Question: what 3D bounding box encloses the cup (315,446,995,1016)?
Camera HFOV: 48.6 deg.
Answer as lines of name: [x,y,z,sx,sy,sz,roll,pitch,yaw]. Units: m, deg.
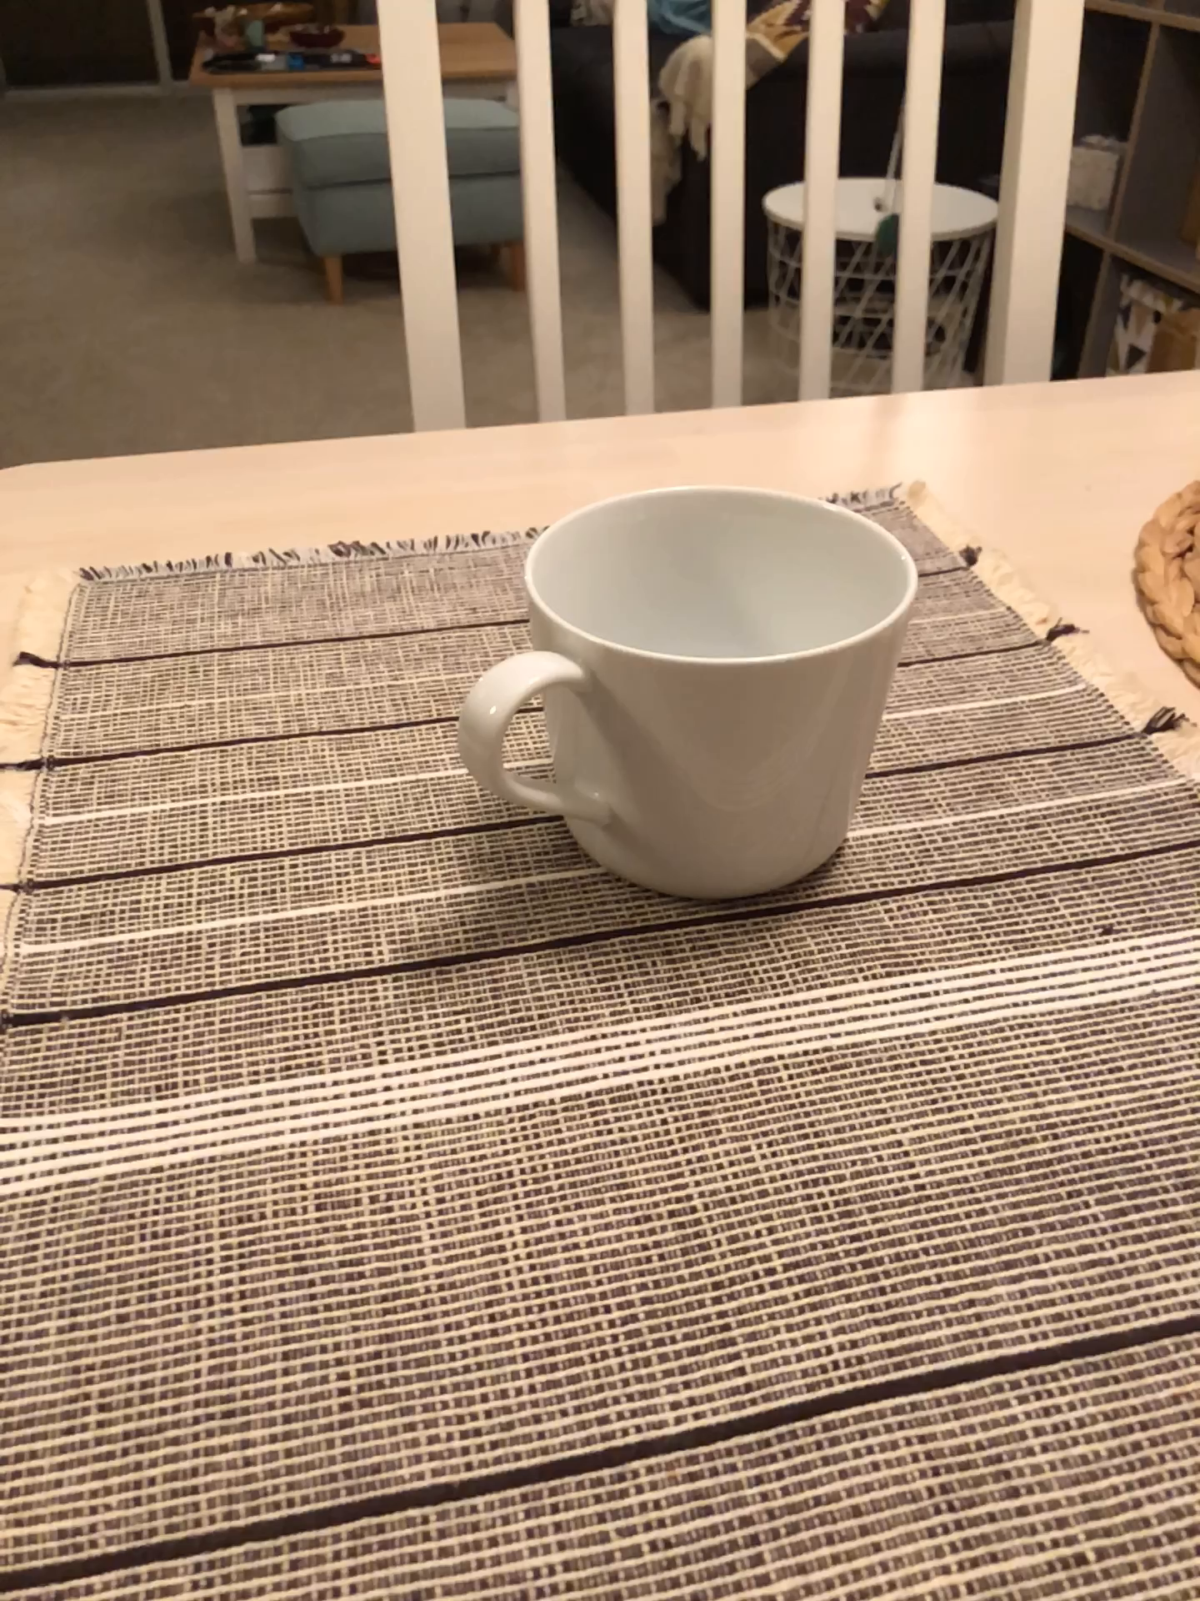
cup: [0.016,-0.029,0.352,0.141,0.070,0.100,-28,45,-33]
